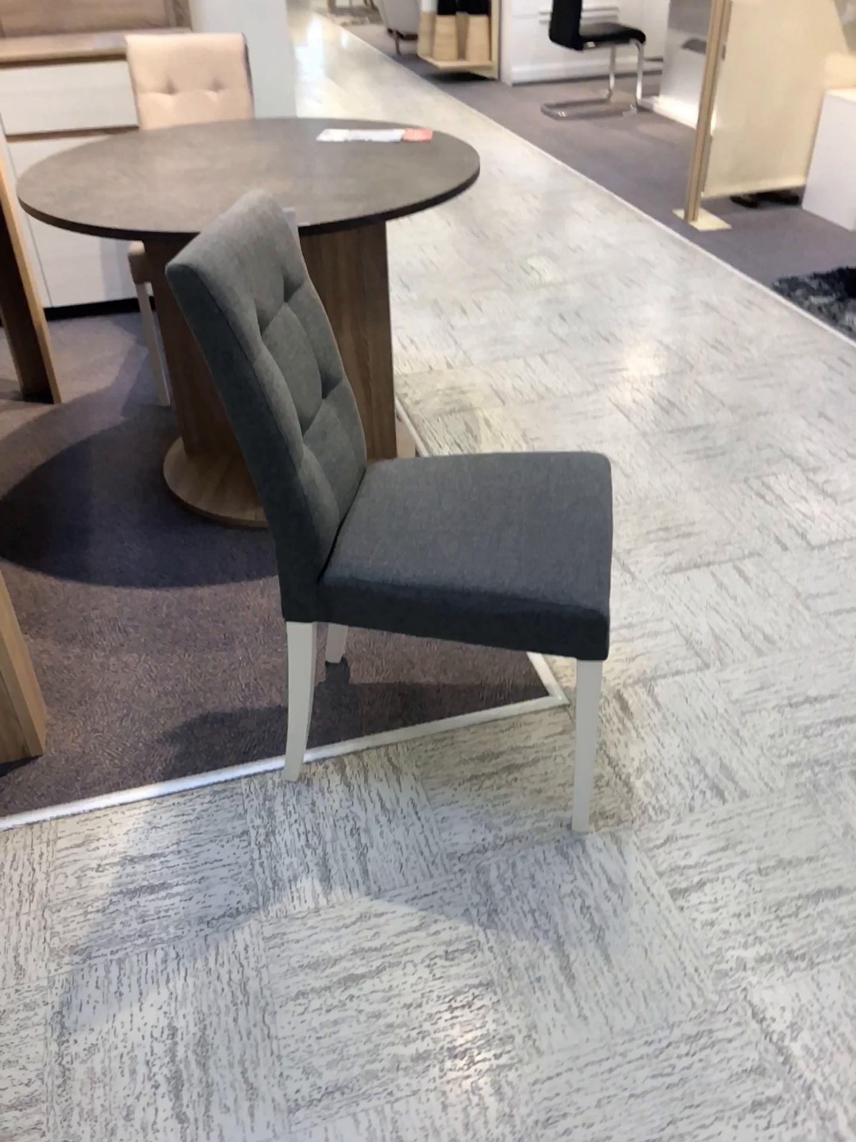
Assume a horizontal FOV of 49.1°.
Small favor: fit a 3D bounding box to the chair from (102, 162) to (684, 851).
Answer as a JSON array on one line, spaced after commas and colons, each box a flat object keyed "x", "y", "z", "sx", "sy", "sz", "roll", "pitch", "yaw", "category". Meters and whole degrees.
[{"x": 0.003, "y": -0.087, "z": 1.338, "sx": 0.580, "sy": 0.825, "sz": 0.463, "roll": 4, "pitch": 36, "yaw": 8, "category": "chair"}]
